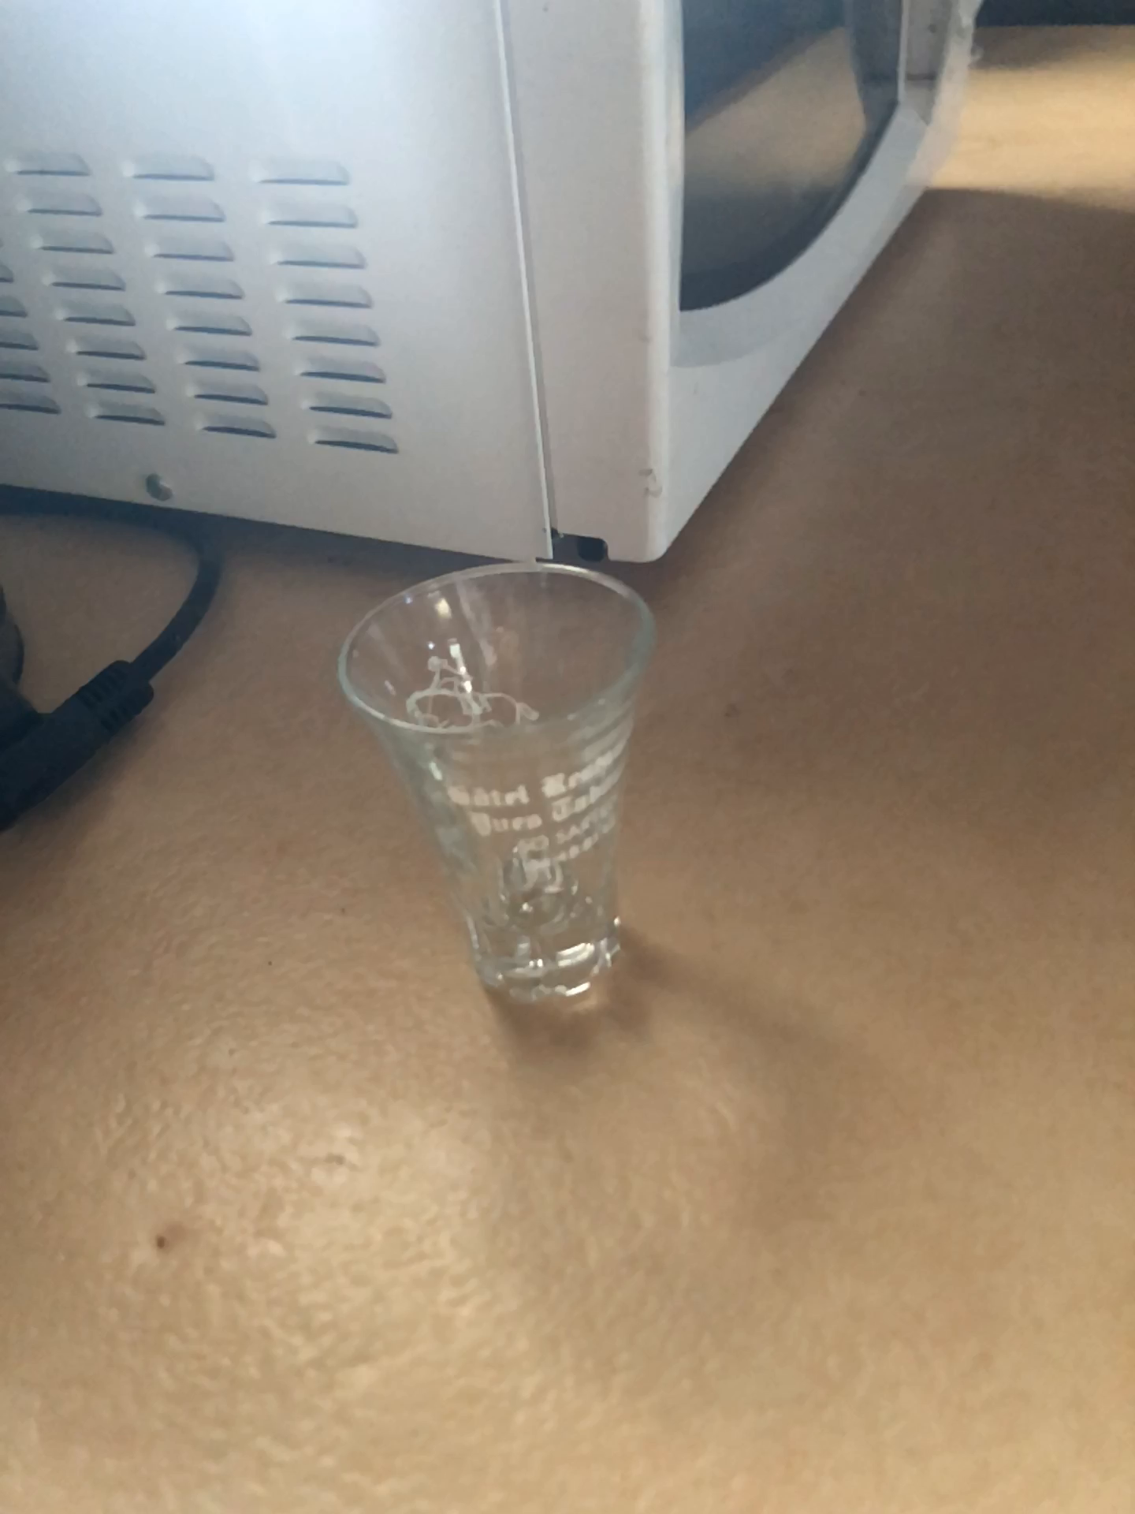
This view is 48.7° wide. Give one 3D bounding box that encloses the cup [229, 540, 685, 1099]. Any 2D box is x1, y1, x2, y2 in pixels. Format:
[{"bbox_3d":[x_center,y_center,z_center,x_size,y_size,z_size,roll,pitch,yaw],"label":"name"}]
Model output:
[{"bbox_3d":[-0.015,0.009,0.218,0.050,0.070,0.050,-4,37,3],"label":"cup"}]
